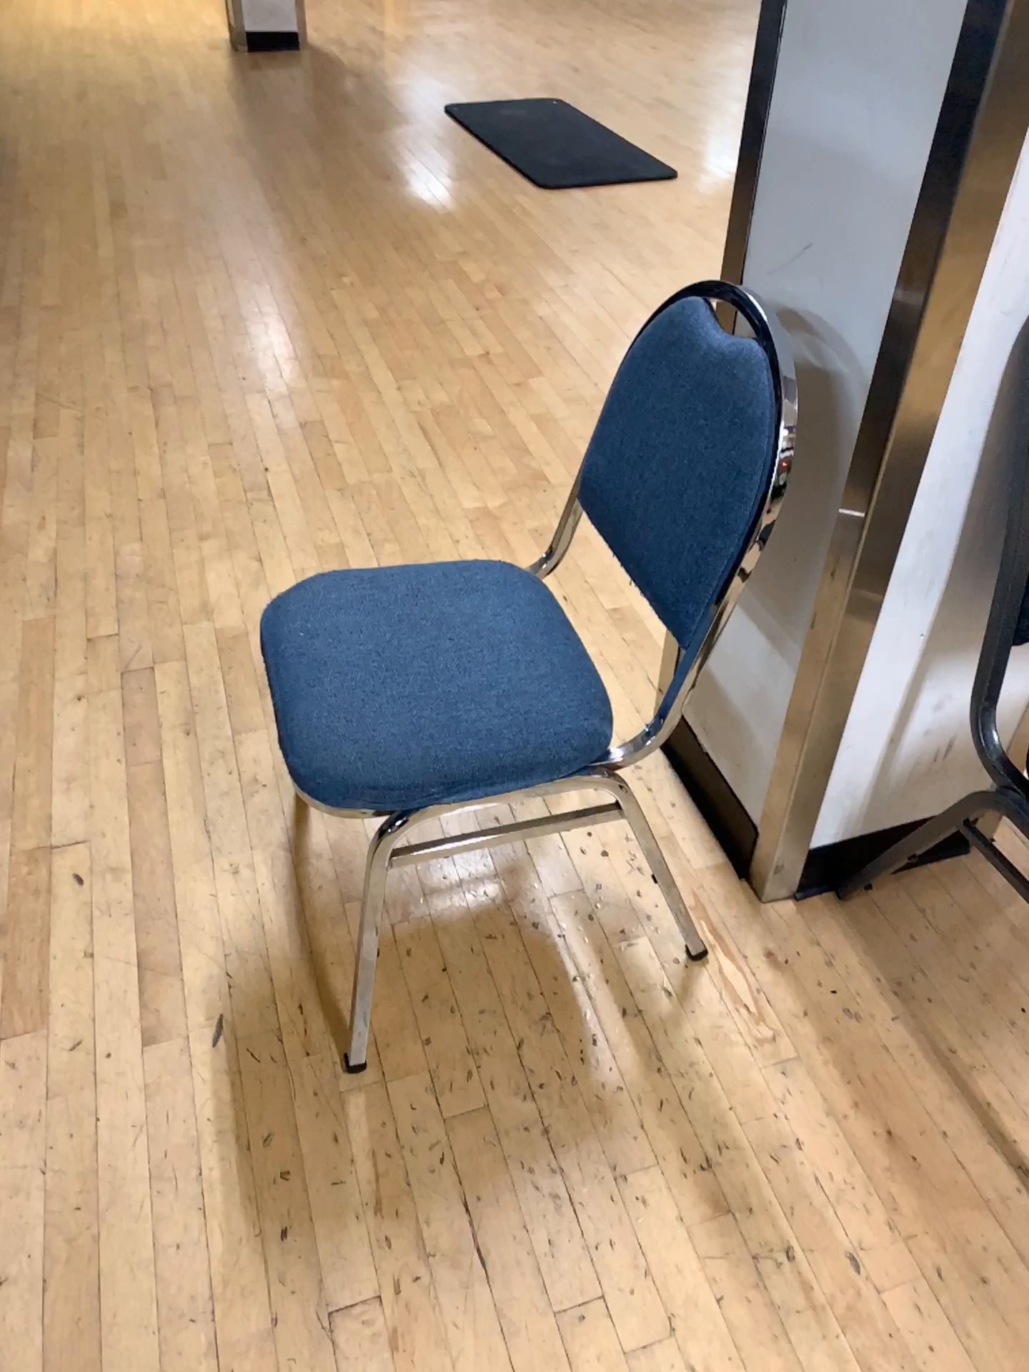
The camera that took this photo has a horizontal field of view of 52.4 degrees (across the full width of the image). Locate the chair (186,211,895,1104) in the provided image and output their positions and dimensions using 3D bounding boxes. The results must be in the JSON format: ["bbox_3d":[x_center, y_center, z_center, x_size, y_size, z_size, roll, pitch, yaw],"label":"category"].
[{"bbox_3d":[-0.028,-0.025,1.307,0.553,0.888,0.550,-10,42,-13],"label":"chair"}]
